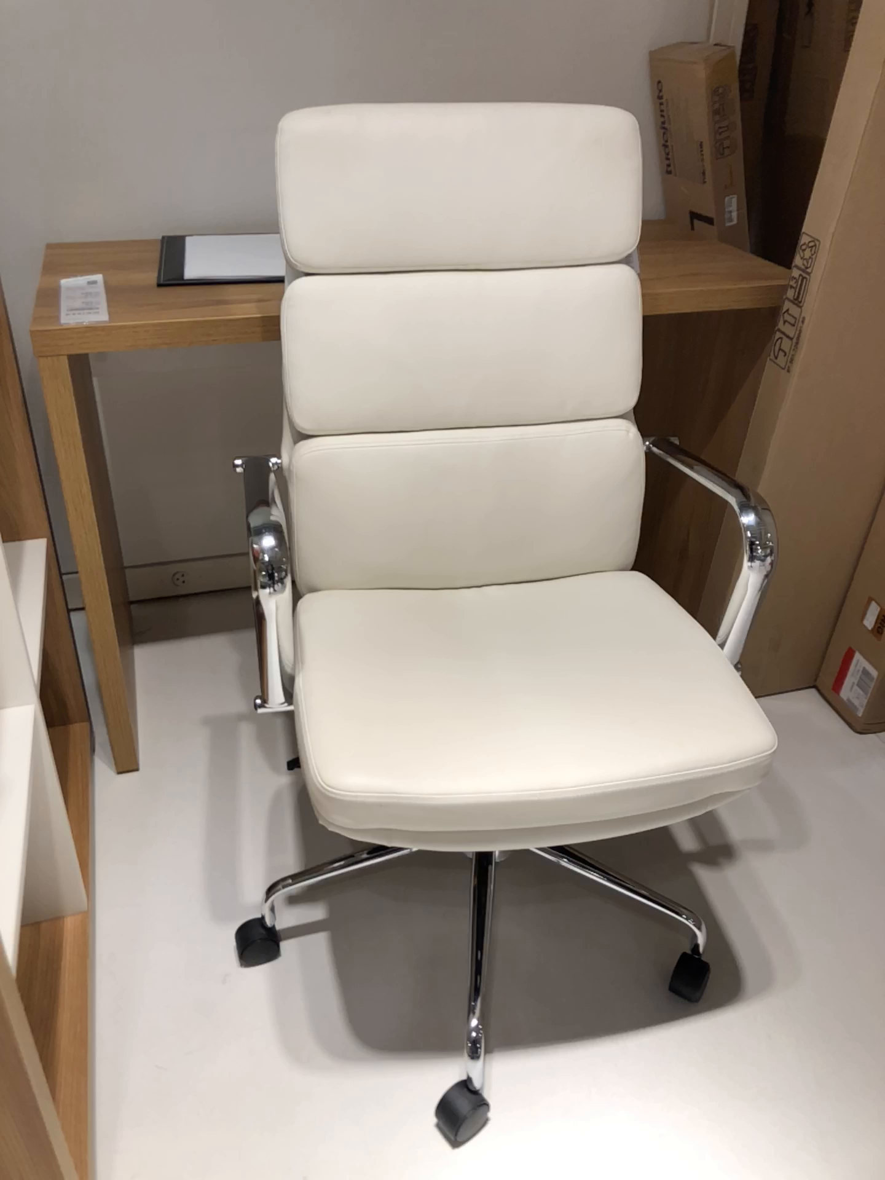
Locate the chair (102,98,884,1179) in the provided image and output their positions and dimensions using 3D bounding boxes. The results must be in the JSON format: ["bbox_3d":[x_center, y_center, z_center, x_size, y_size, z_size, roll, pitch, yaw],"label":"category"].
[{"bbox_3d":[0.027,0.022,1.159,0.641,1.032,0.685,-6,32,-13],"label":"chair"}]
